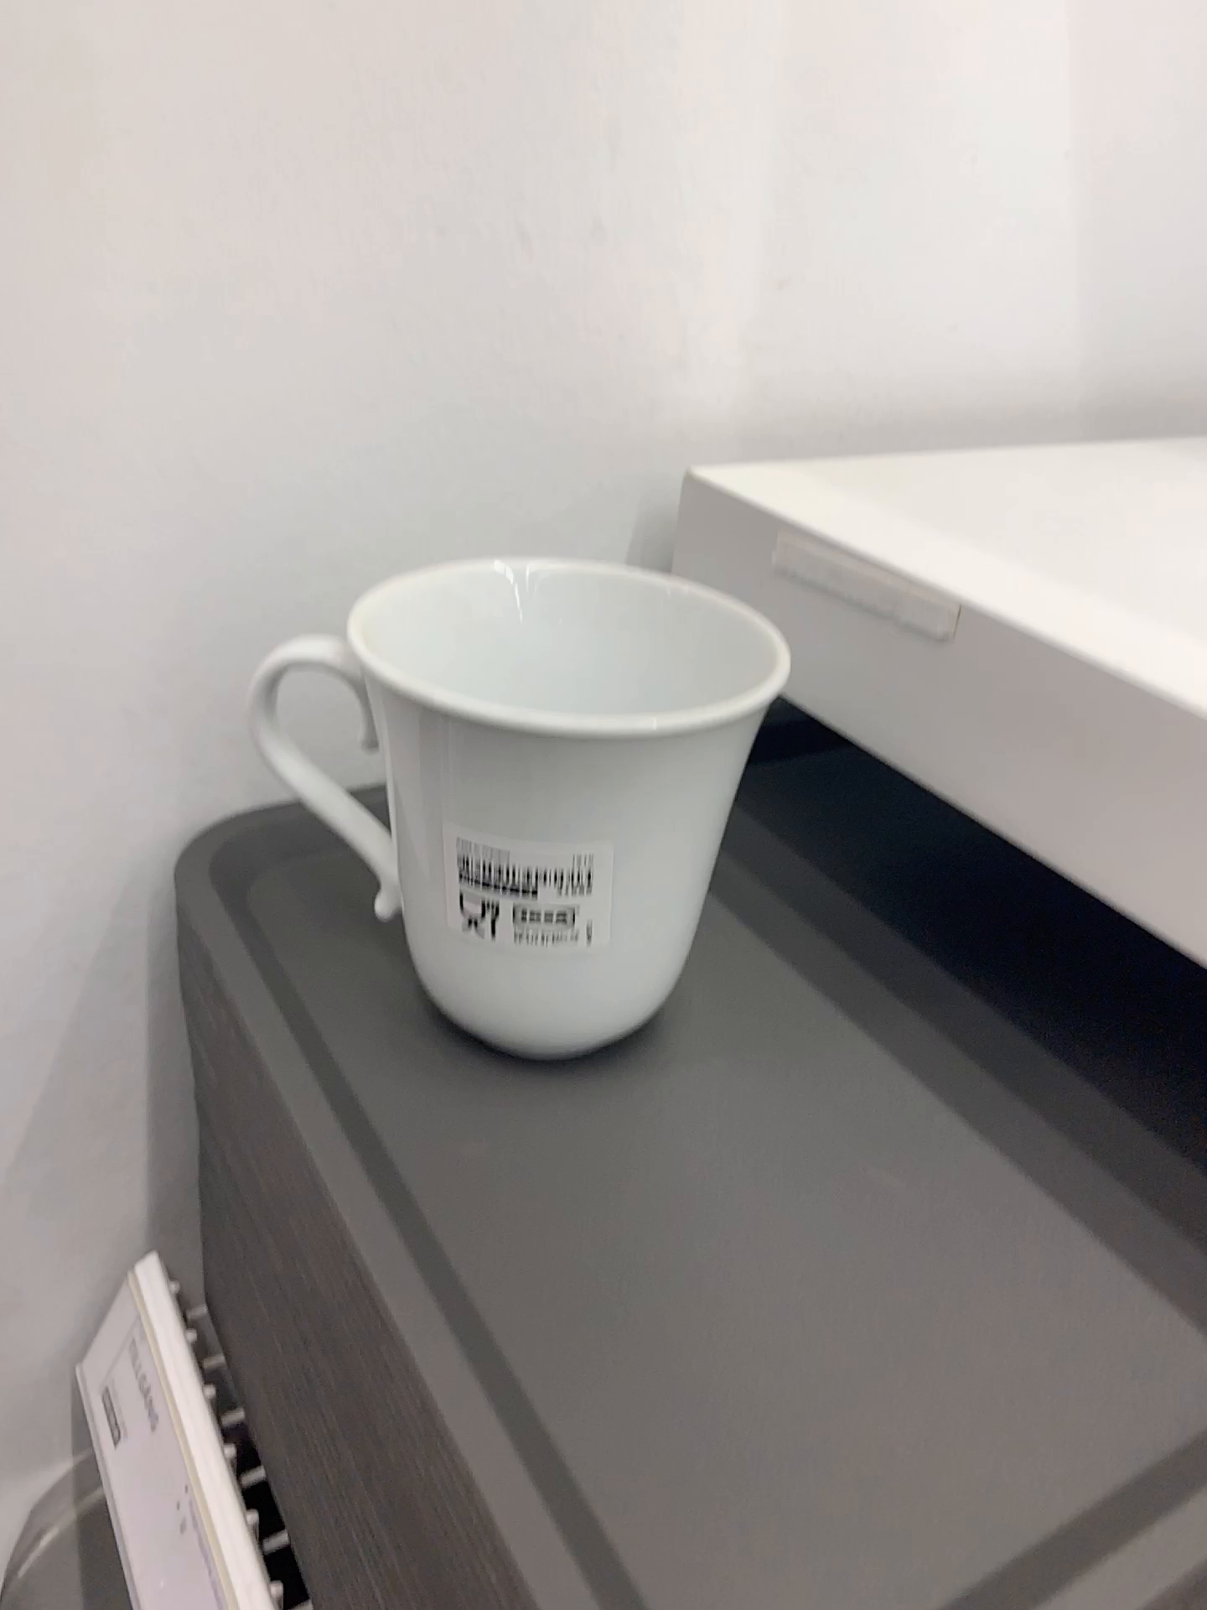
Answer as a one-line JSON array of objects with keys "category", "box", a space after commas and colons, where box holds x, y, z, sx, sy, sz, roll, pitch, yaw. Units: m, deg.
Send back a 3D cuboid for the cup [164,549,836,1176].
[{"category": "cup", "box": [-0.020, 0.008, 0.306, 0.130, 0.100, 0.100, 8, 28, 3]}]
